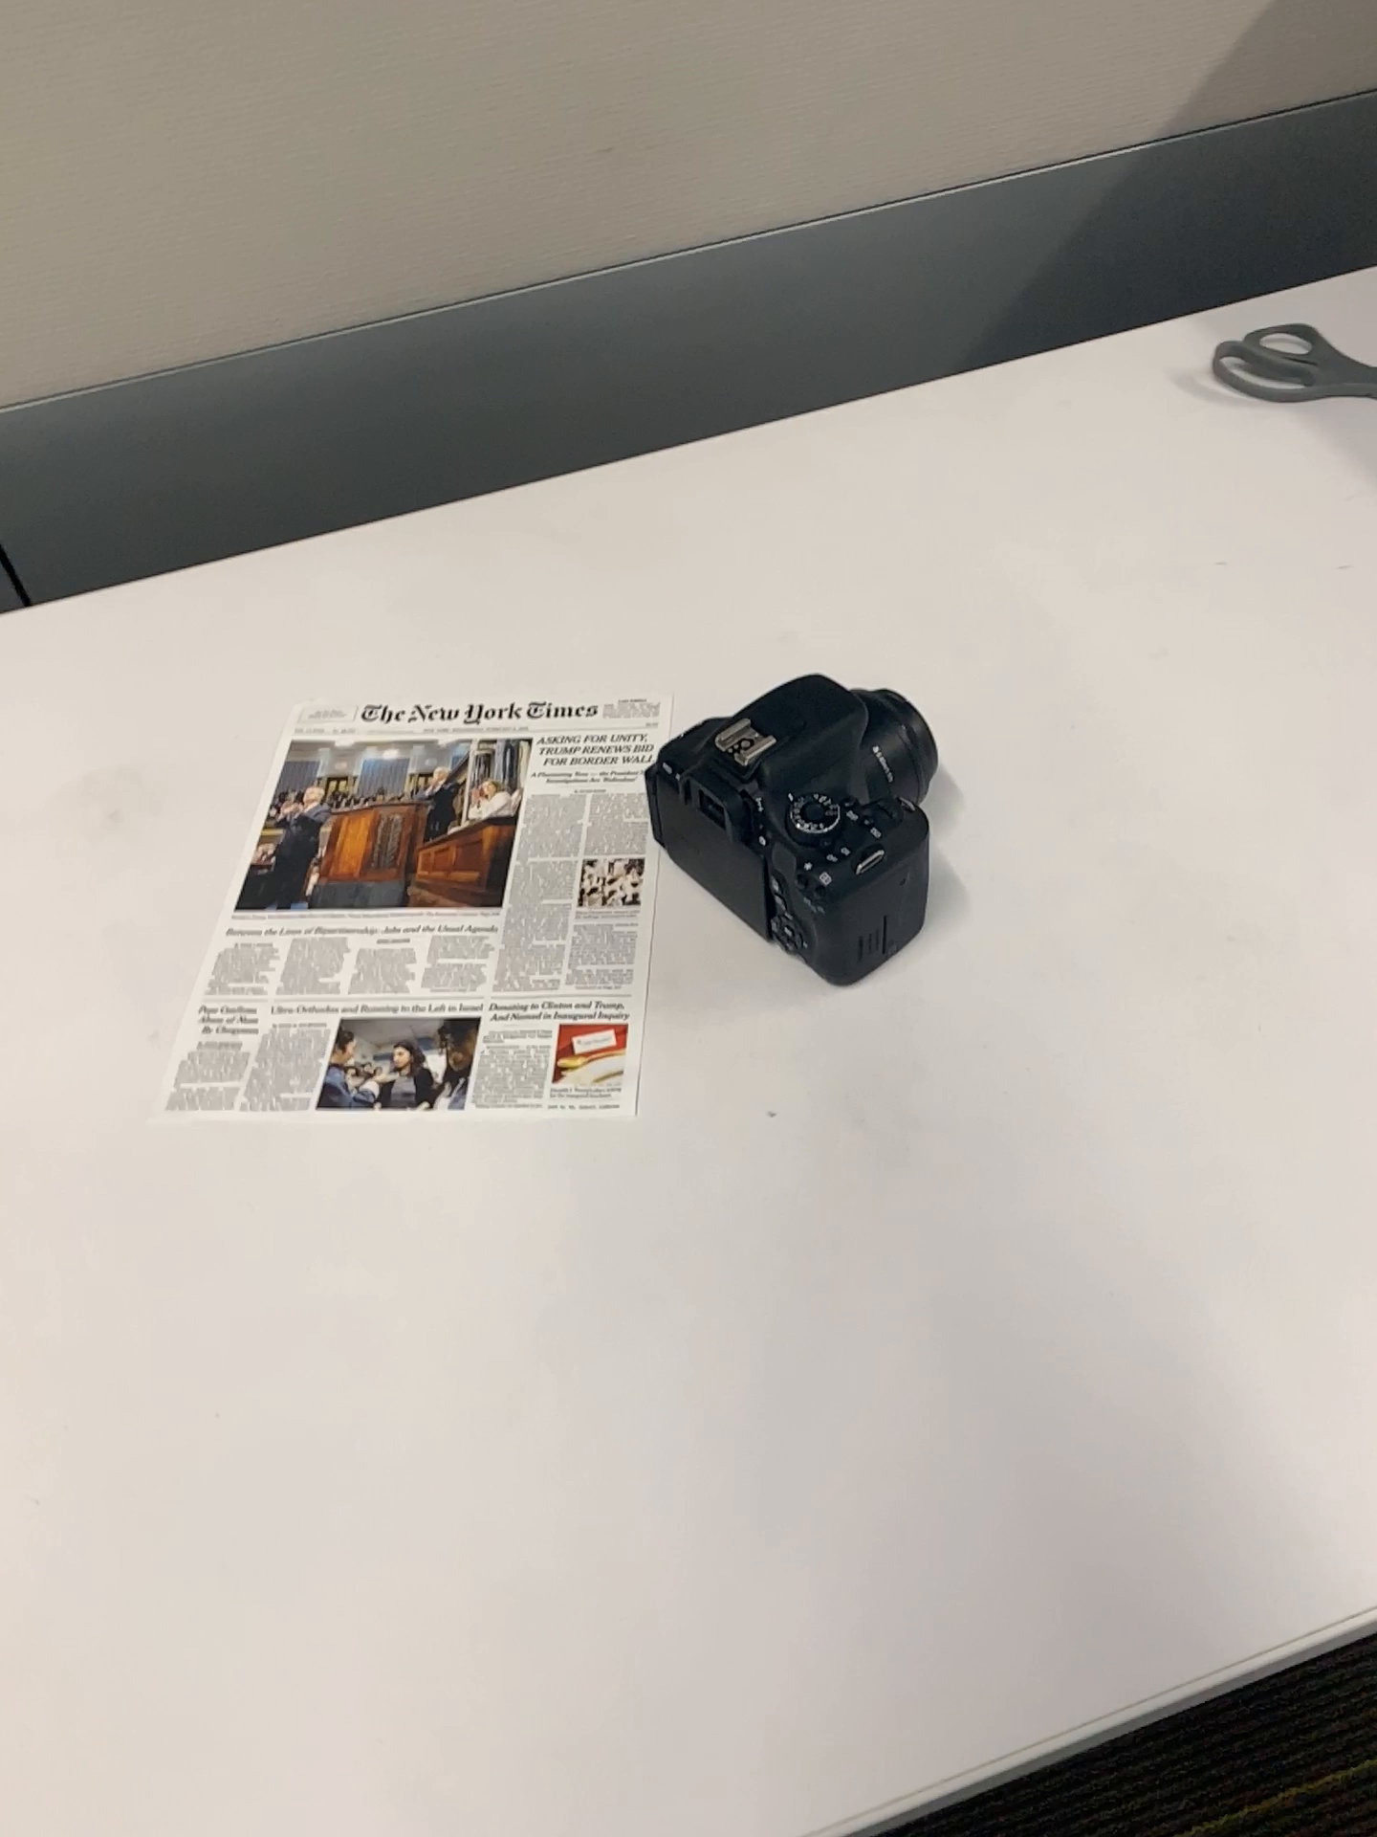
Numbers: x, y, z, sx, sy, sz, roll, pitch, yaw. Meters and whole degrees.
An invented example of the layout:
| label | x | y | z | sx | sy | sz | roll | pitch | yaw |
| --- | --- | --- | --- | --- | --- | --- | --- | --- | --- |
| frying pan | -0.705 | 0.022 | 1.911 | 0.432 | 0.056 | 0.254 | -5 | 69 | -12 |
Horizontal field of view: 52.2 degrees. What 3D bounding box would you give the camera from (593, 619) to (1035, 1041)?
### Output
| label | x | y | z | sx | sy | sz | roll | pitch | yaw |
| --- | --- | --- | --- | --- | --- | --- | --- | --- | --- |
| camera | 0.059 | -0.048 | 0.680 | 0.136 | 0.084 | 0.152 | -37 | 55 | -23 |
